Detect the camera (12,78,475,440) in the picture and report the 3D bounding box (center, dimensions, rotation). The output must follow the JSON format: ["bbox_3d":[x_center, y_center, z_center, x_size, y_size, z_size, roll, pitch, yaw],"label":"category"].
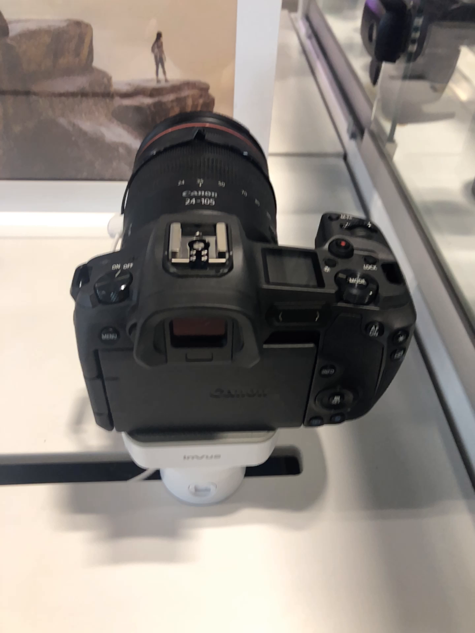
[{"bbox_3d":[-0.002,-0.034,0.237,0.139,0.086,0.146,-2,45,-5],"label":"camera"}]
